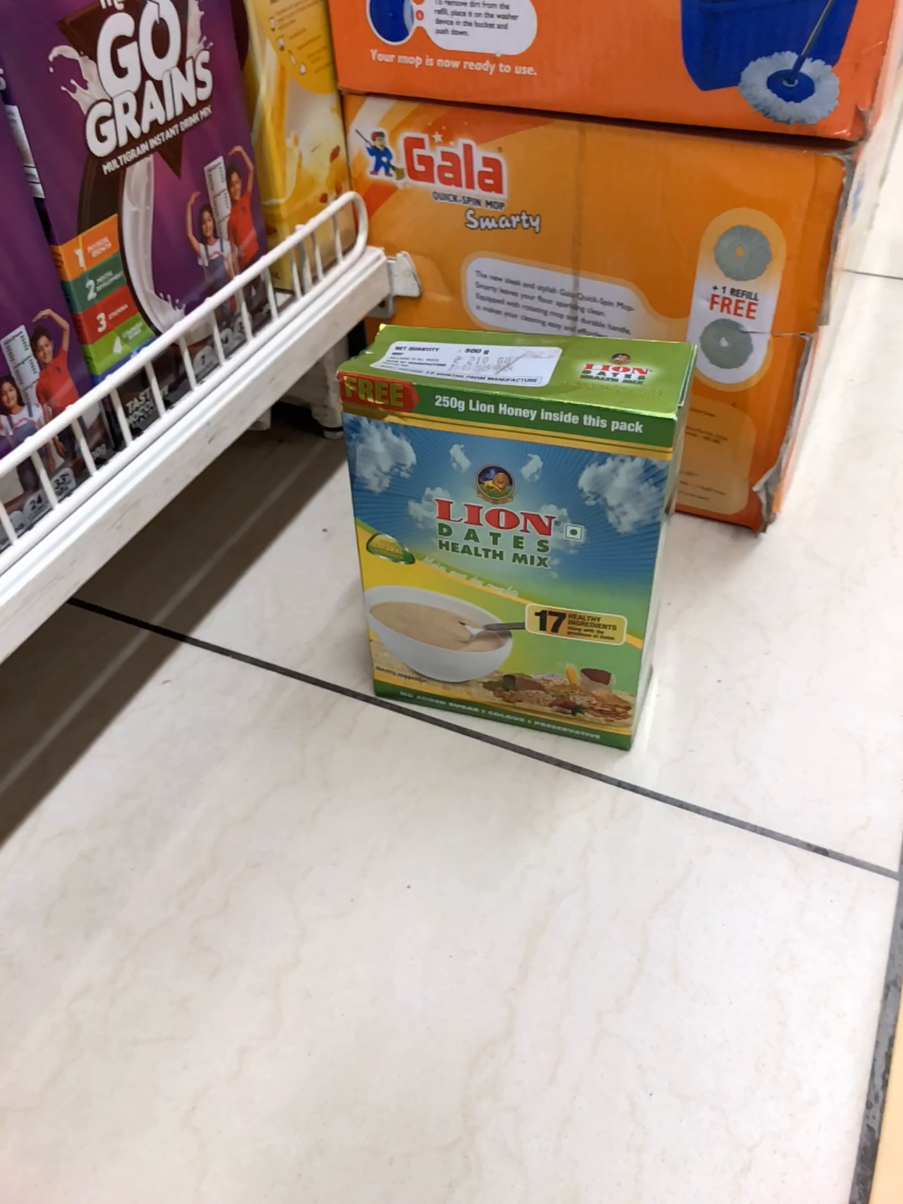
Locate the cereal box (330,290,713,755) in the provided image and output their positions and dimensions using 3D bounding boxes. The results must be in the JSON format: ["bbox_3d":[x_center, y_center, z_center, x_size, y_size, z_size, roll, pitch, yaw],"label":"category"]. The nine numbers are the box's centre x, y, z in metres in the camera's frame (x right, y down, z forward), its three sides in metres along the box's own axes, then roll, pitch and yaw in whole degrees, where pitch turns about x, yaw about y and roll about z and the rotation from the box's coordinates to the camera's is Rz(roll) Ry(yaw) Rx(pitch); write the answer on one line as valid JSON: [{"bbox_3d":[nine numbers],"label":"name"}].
[{"bbox_3d":[0.037,-0.034,0.527,0.160,0.229,0.070,10,45,13],"label":"cereal box"}]
